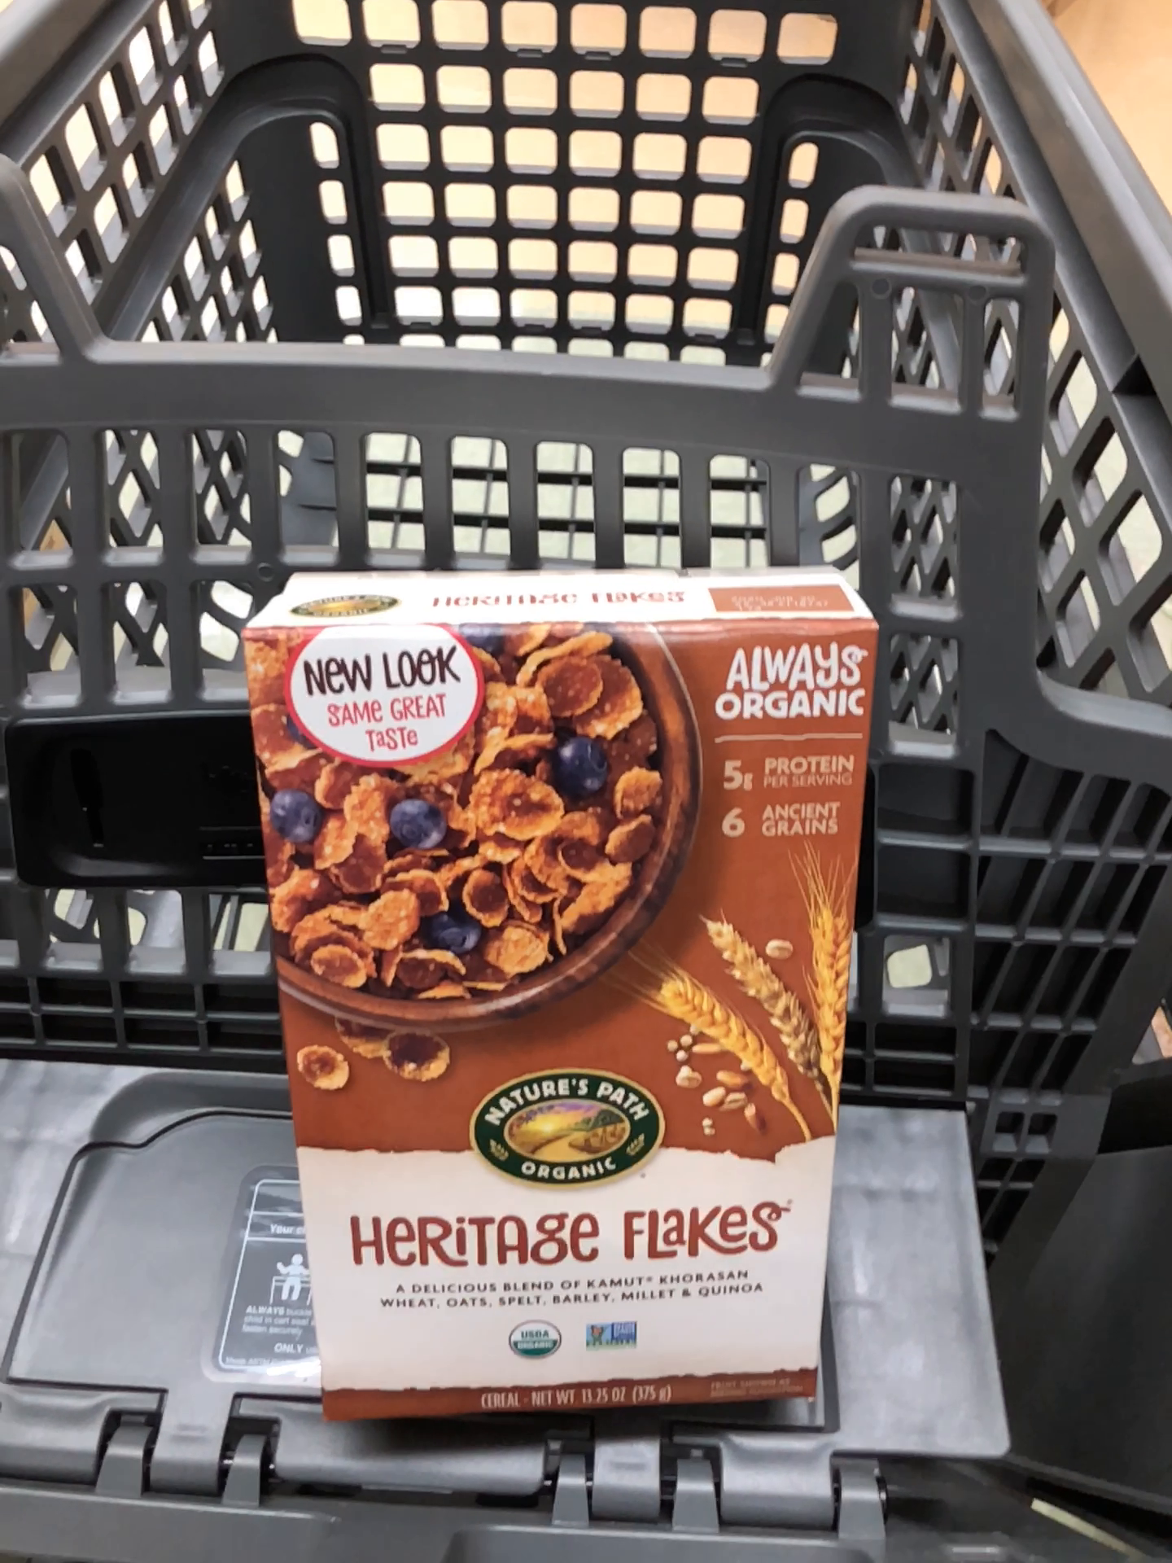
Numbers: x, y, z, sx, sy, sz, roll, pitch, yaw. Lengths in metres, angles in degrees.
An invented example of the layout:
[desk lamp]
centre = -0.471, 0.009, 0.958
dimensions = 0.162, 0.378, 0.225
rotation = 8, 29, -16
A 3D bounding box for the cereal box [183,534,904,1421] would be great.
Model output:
[cereal box]
centre = -0.008, 0.061, 0.376
dimensions = 0.170, 0.250, 0.060
rotation = -2, 20, -2
